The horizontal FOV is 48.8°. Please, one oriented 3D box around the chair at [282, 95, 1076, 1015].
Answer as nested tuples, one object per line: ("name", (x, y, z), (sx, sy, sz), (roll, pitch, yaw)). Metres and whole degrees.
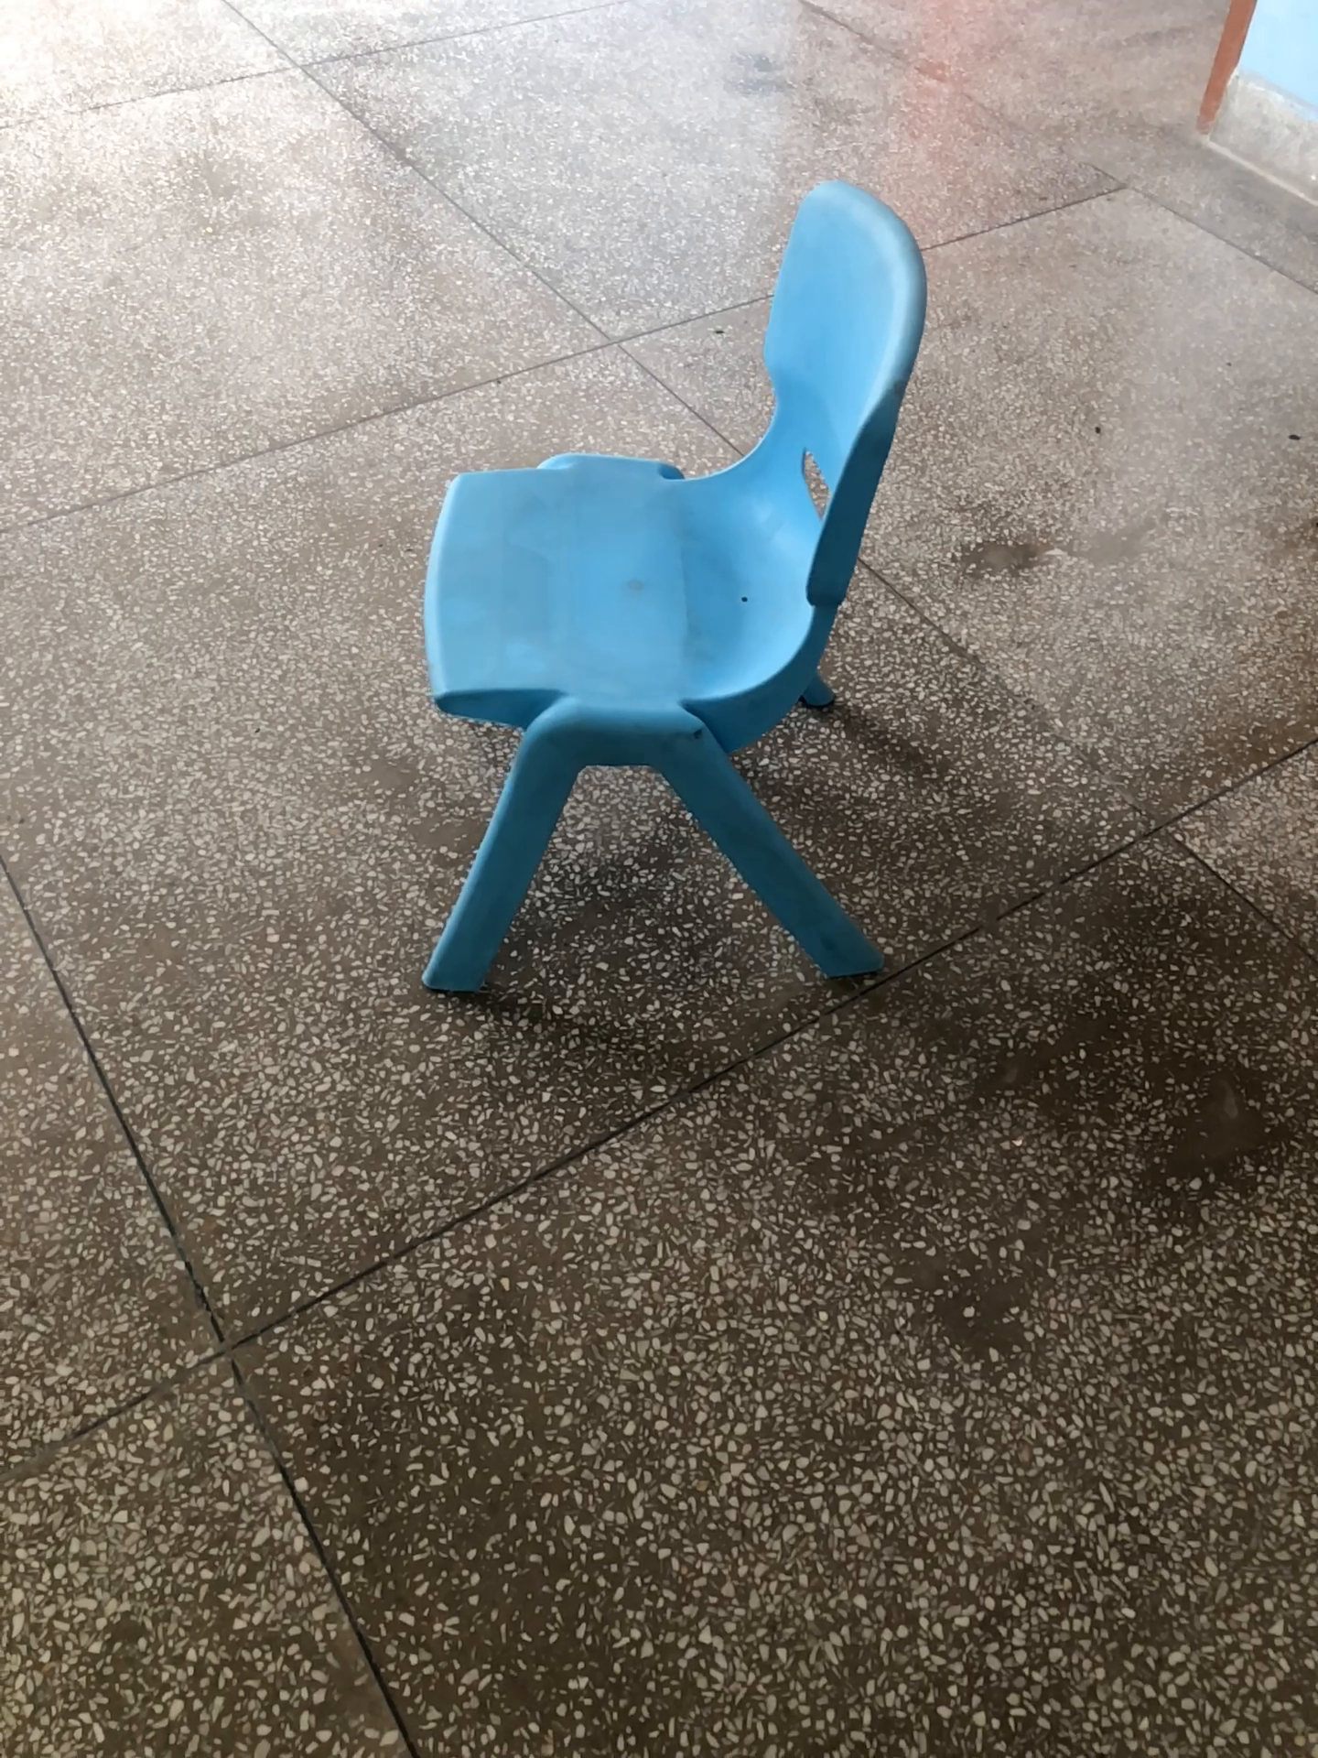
("chair", (-0.004, -0.206, 1.024), (0.390, 0.499, 0.381), (0, 49, -3))
